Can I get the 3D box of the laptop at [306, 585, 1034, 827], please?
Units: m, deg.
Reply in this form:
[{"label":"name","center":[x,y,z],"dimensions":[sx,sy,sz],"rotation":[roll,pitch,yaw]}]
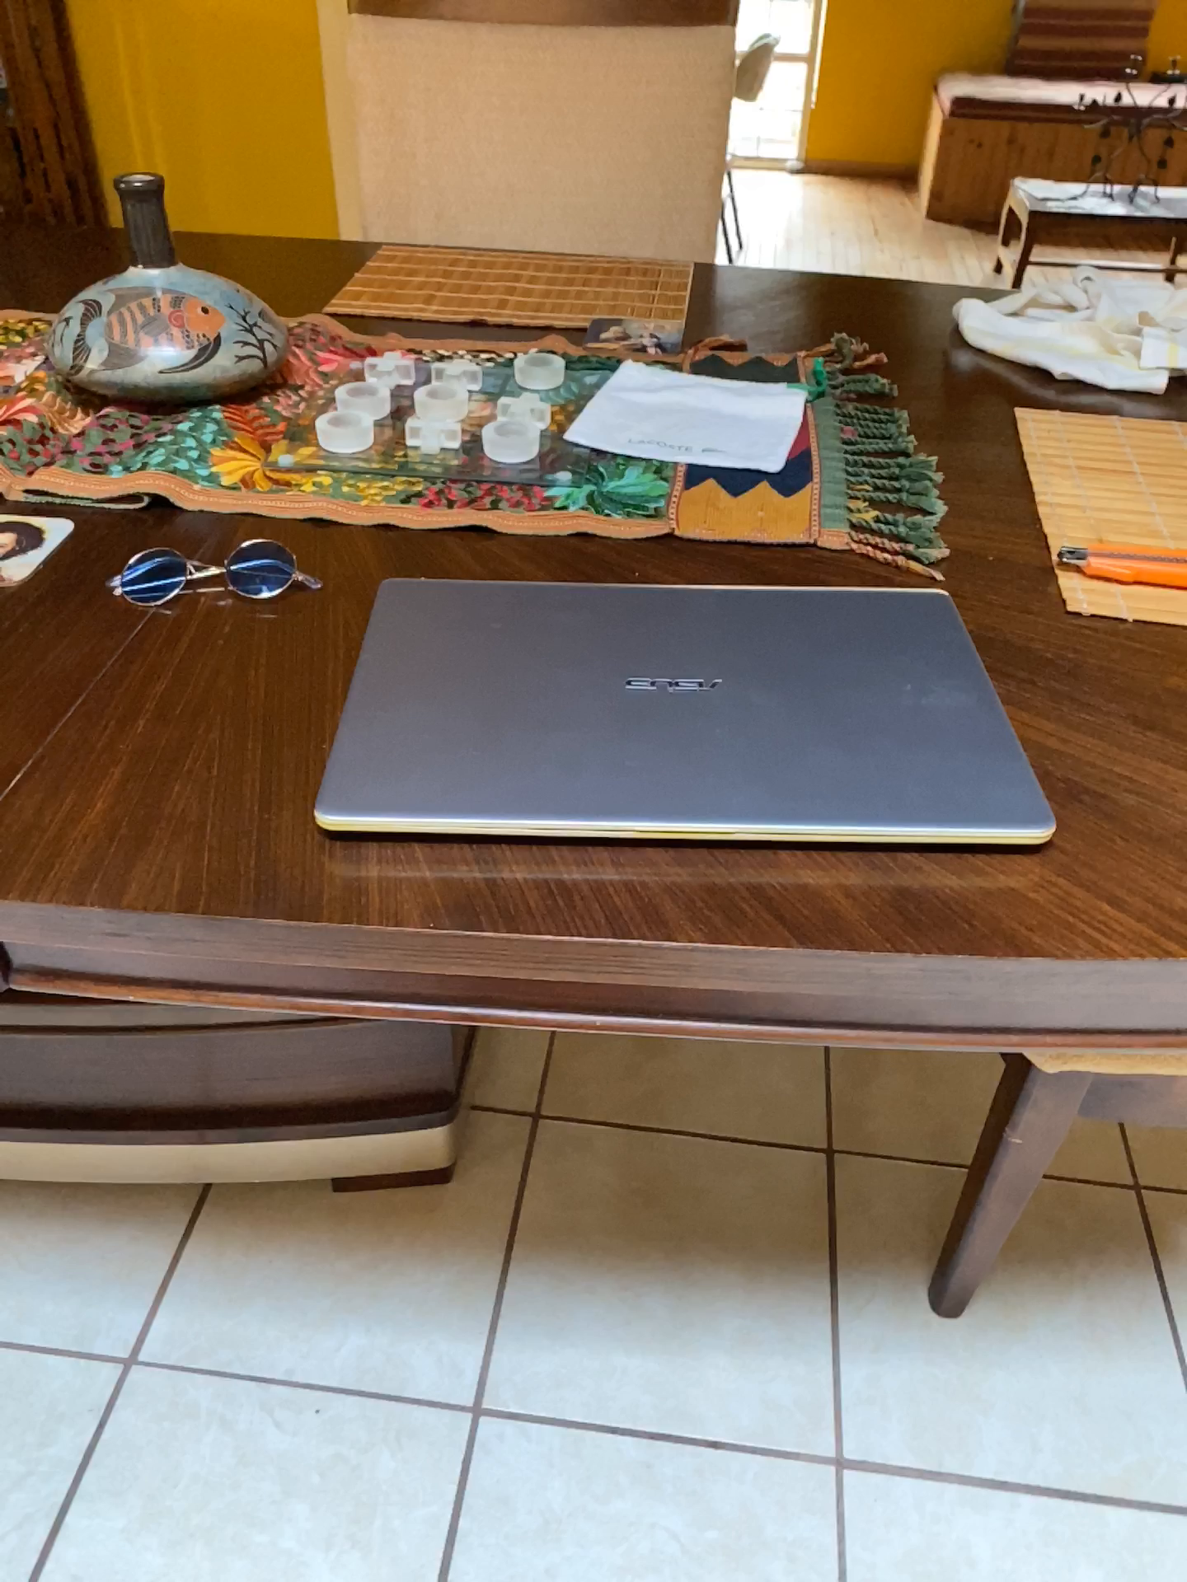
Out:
[{"label":"laptop","center":[0.043,-0.061,0.731],"dimensions":[0.383,0.001,0.247],"rotation":[1,38,-1]}]
